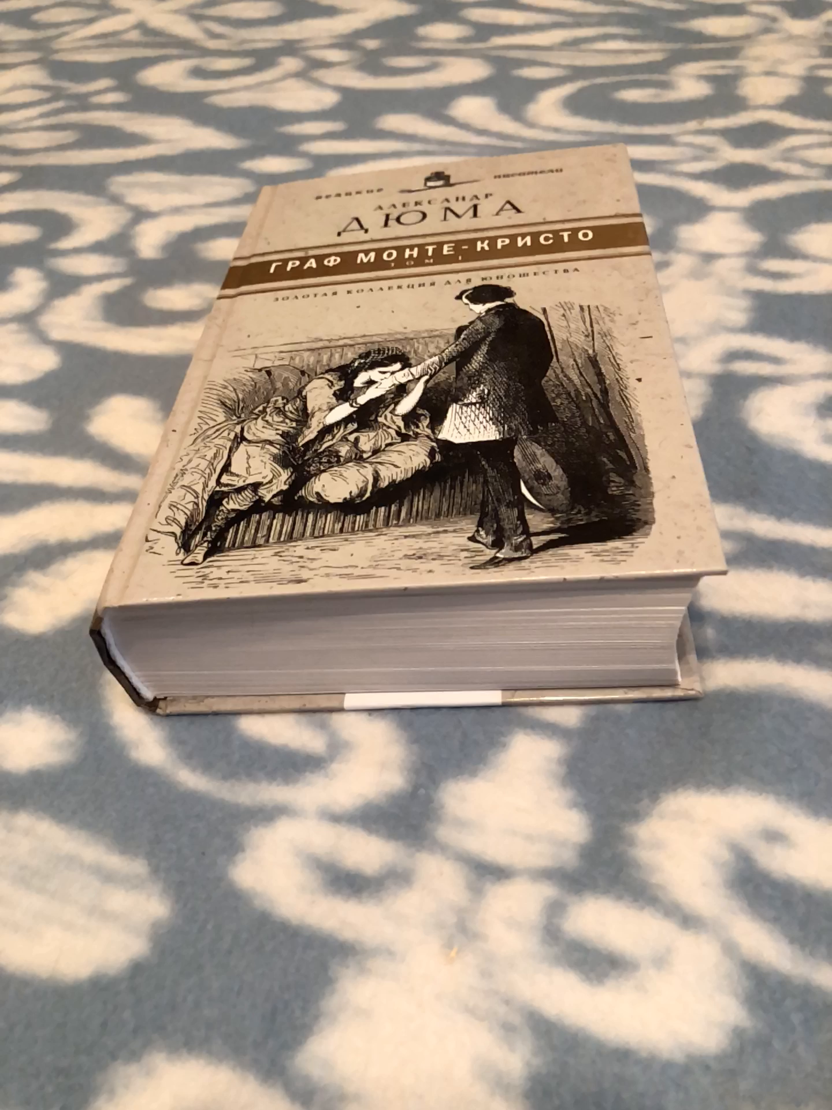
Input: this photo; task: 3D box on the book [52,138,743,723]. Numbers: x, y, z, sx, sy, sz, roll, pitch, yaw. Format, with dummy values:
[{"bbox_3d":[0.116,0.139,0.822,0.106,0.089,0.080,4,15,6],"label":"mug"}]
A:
[{"bbox_3d":[0.001,-0.053,0.272,0.138,0.040,0.213,-3,44,8],"label":"book"}]
